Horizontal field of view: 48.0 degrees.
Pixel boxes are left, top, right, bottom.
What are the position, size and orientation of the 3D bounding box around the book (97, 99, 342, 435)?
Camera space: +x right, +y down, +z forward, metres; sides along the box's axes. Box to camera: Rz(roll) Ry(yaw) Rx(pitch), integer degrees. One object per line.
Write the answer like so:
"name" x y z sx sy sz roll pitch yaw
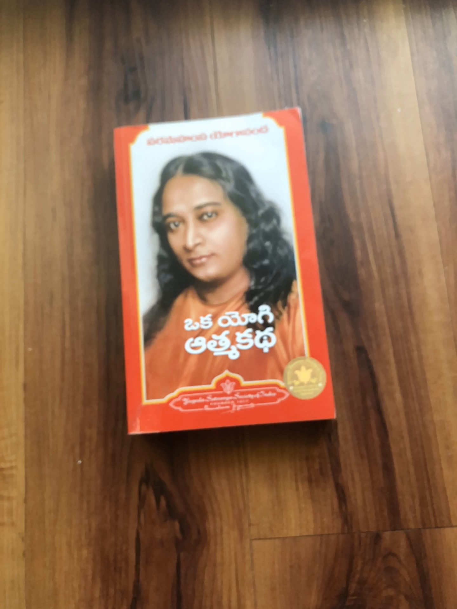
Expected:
"book" -0.010 -0.027 0.352 0.147 0.030 0.214 -5 80 3
